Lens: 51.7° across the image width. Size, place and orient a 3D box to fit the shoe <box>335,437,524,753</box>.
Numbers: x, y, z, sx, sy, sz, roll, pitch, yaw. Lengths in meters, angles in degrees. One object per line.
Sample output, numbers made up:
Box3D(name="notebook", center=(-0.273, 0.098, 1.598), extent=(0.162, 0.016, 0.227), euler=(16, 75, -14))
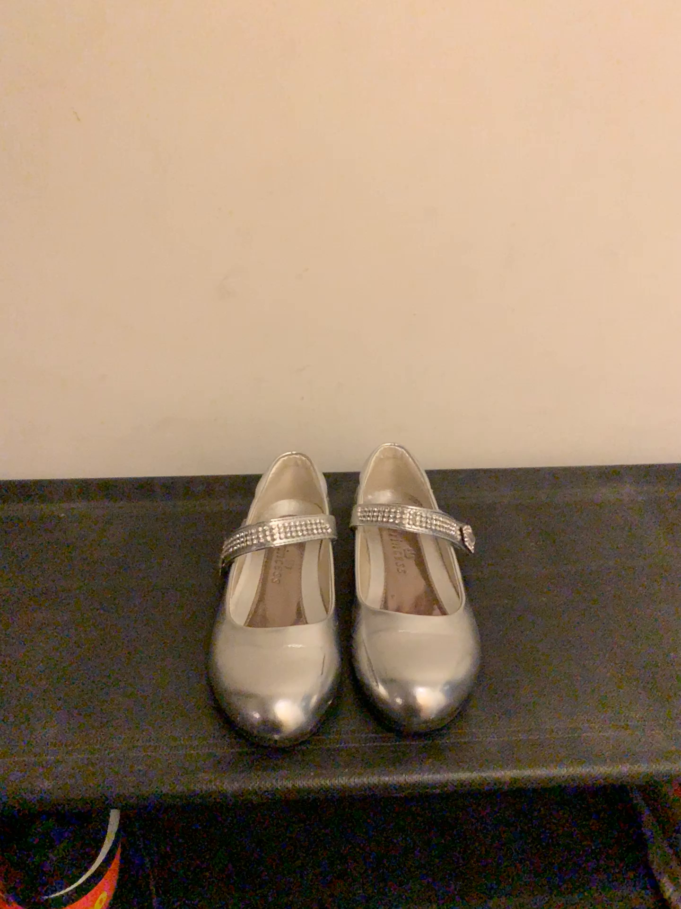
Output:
Box3D(name="shoe", center=(0.046, 0.074, 0.436), extent=(0.090, 0.089, 0.182), euler=(-4, 29, 2))

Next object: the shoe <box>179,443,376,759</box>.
Box3D(name="shoe", center=(-0.029, 0.078, 0.438), extent=(0.090, 0.089, 0.182), euler=(-4, 29, 2))
